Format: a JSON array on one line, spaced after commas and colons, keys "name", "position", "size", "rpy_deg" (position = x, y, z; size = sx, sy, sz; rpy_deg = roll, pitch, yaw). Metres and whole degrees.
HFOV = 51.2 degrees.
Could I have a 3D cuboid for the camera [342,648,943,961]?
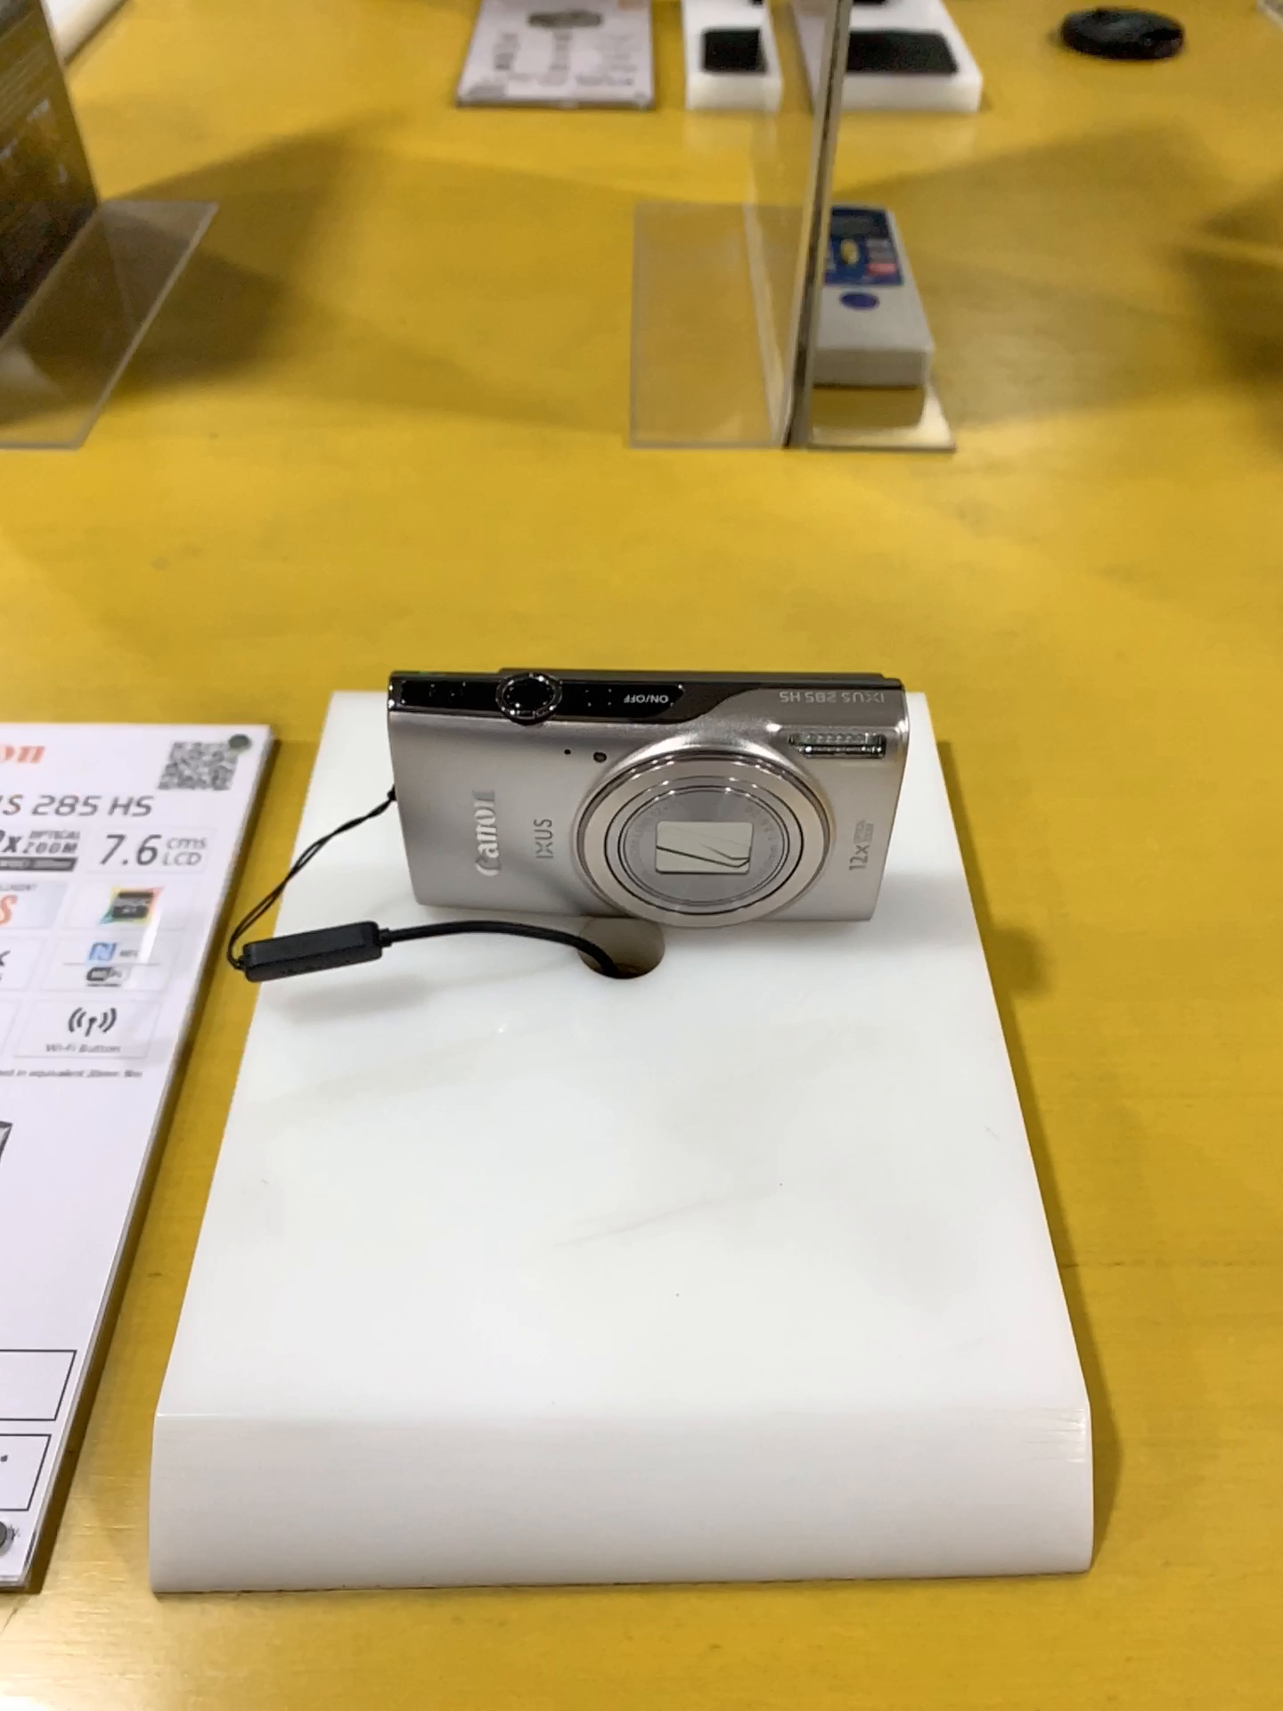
[{"name": "camera", "position": [0.000, -0.009, 0.251], "size": [0.100, 0.050, 0.030], "rpy_deg": [1, 46, 1]}]
